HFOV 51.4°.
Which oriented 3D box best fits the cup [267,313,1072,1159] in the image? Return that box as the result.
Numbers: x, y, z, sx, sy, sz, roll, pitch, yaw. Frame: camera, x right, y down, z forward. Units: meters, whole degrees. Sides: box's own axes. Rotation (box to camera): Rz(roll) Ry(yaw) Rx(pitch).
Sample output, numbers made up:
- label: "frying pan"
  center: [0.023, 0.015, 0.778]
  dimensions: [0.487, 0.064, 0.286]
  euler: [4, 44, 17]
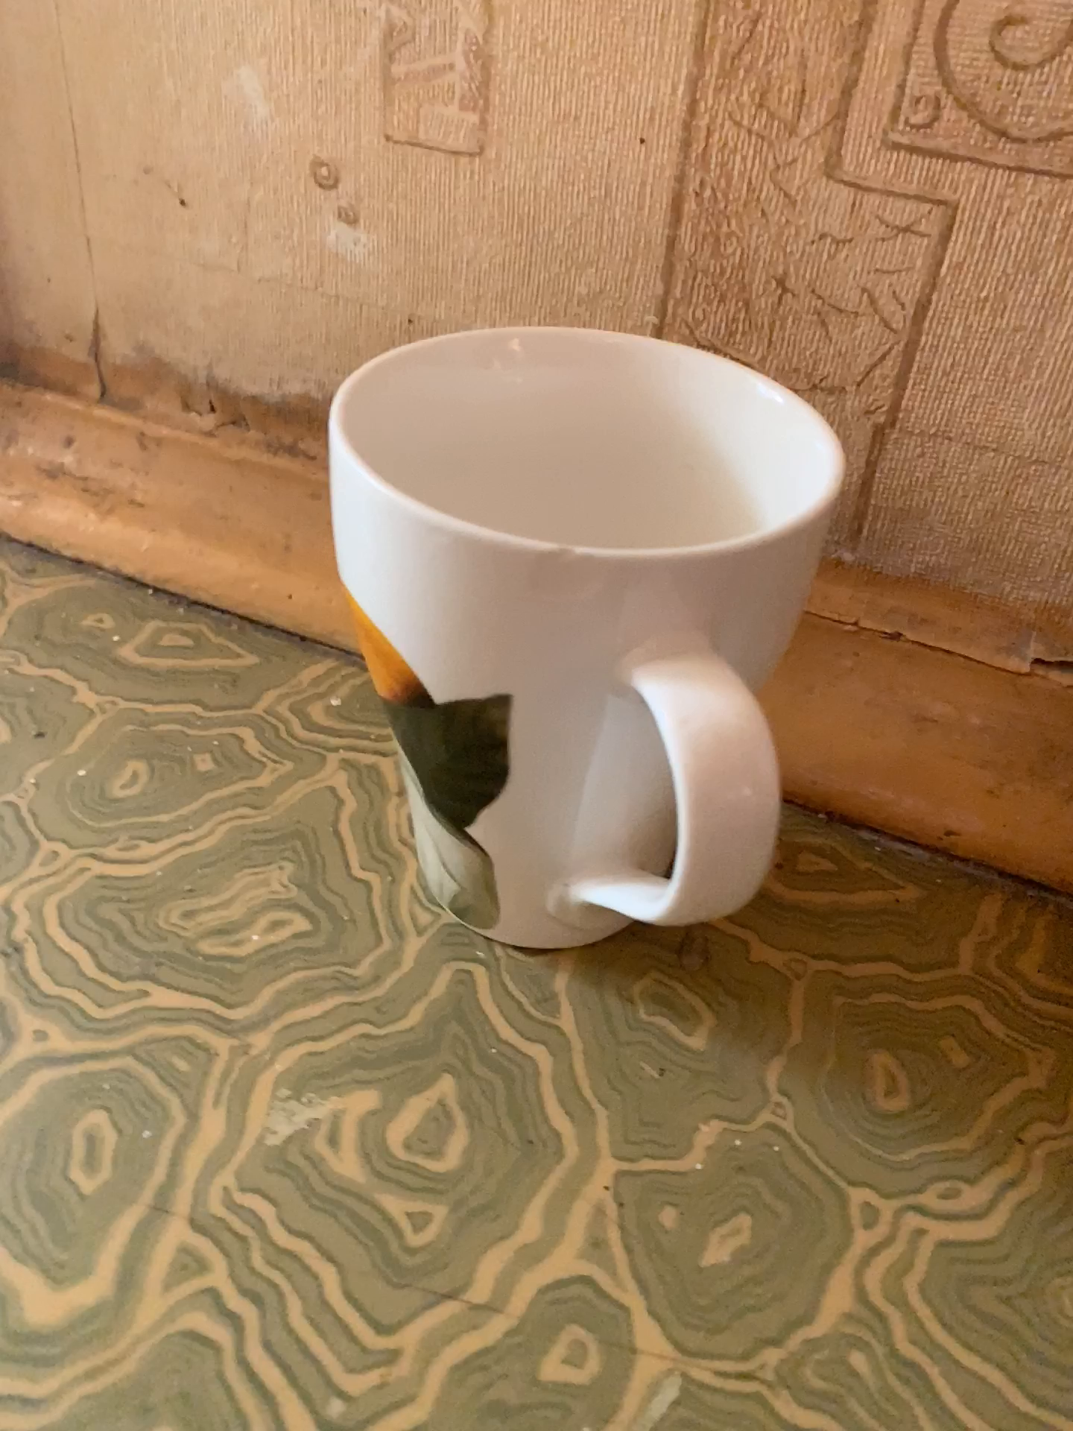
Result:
- label: "cup"
  center: [0.010, -0.007, 0.219]
  dimensions: [0.094, 0.099, 0.119]
  euler: [-11, 41, -21]
